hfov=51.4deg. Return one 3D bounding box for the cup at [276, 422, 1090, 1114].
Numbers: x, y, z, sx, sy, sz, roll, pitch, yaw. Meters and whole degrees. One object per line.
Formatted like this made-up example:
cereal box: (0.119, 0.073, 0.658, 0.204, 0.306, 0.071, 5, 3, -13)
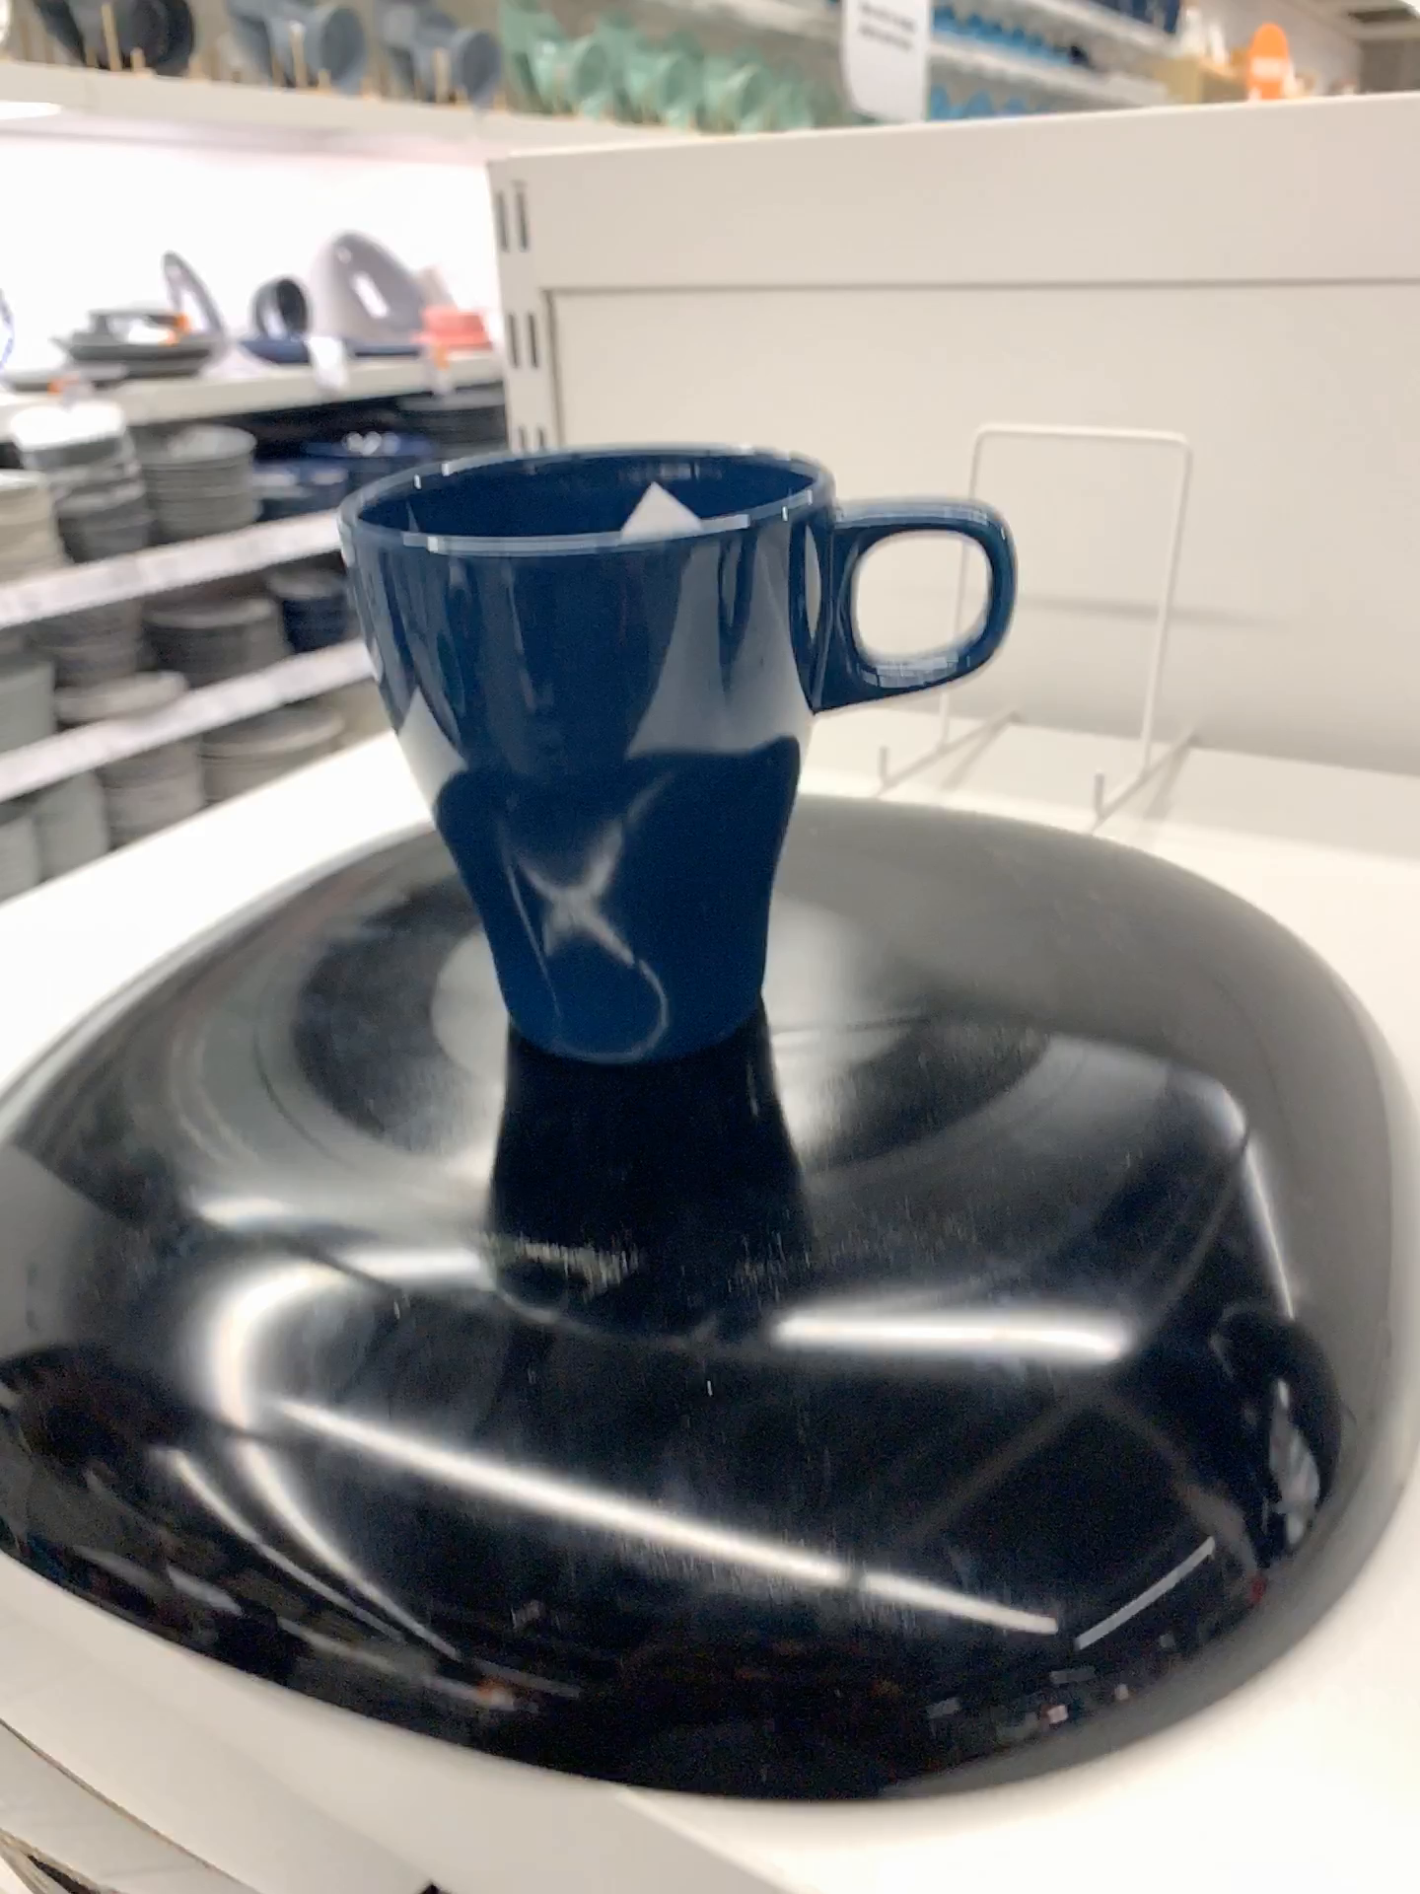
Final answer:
cup: (-0.006, -0.040, 0.278, 0.120, 0.100, 0.090, -4, 25, -5)
